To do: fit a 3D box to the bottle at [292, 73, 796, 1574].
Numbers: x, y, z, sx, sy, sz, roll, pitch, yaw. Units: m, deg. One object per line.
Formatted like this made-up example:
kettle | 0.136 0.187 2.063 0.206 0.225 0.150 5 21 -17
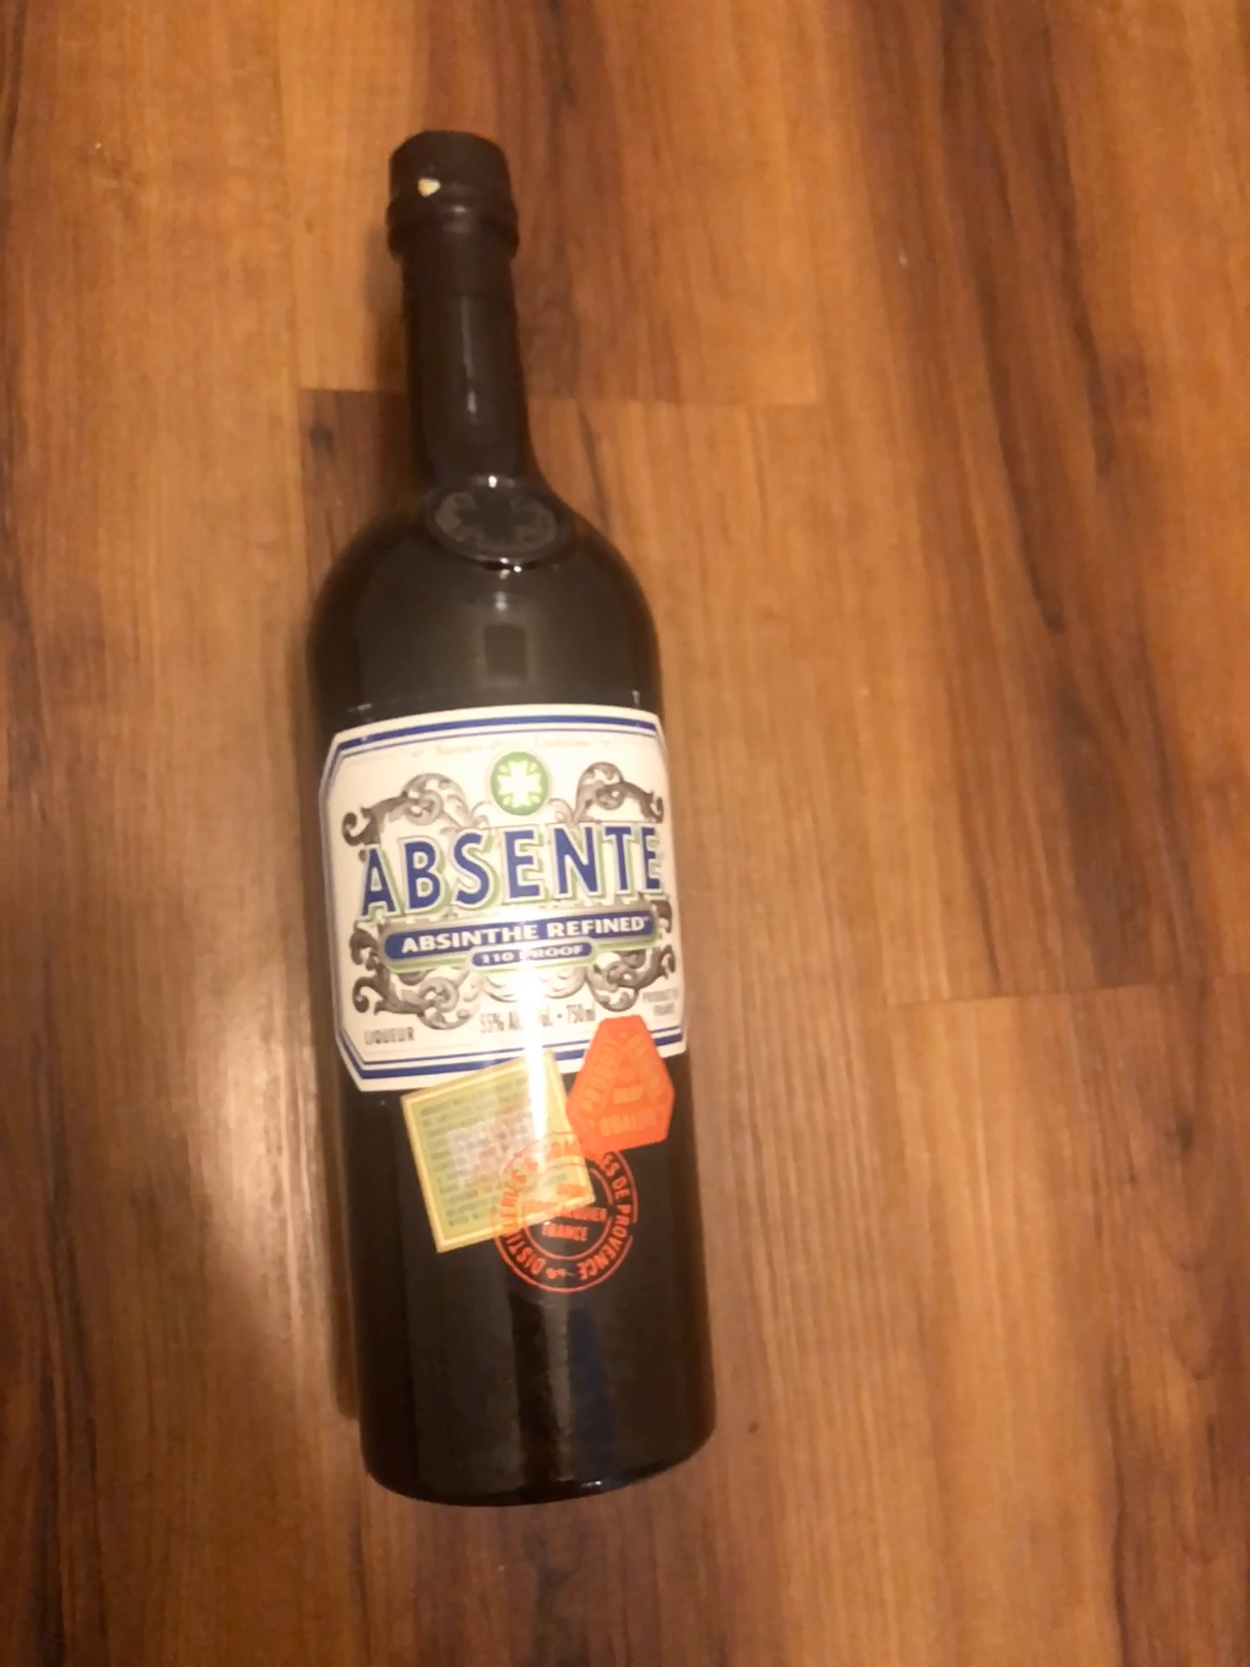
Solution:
bottle | -0.026 -0.009 0.319 0.080 0.070 0.300 -3 82 -15
